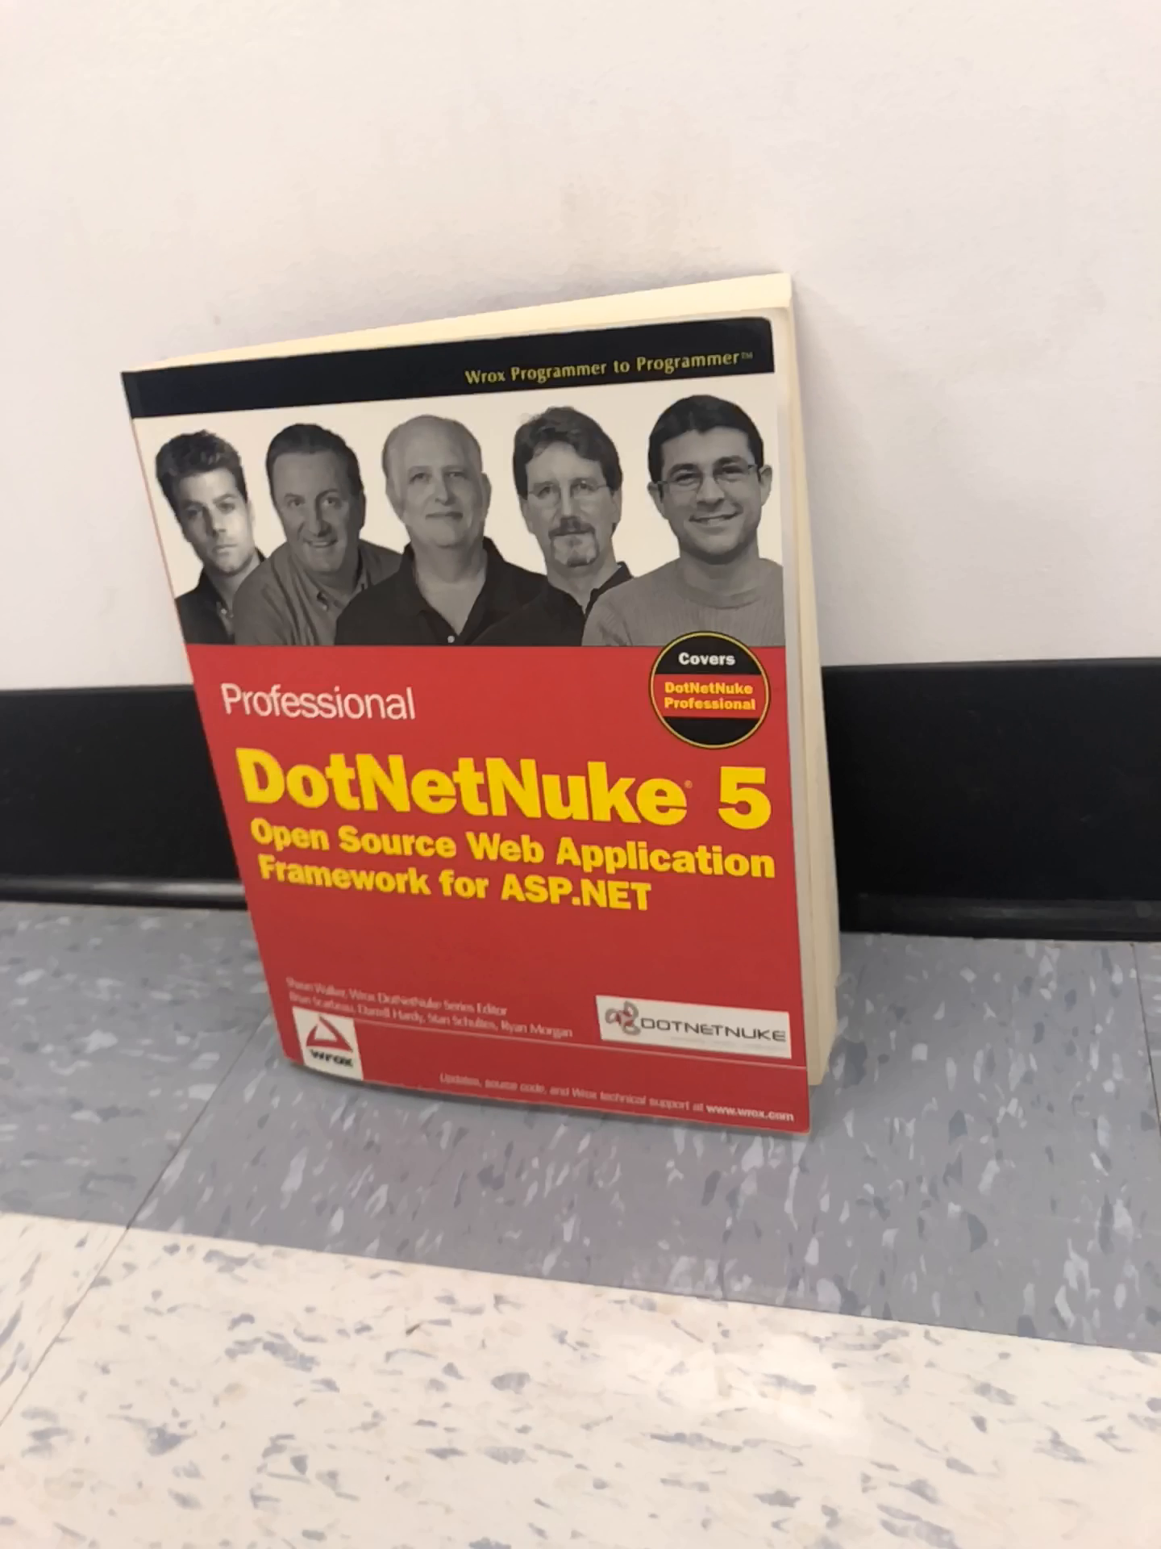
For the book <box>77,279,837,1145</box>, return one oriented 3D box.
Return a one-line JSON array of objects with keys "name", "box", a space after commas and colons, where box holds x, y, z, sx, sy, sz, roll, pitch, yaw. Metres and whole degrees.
[{"name": "book", "box": [-0.031, -0.017, 0.418, 0.210, 0.249, 0.060, 2, 21, 21]}]
